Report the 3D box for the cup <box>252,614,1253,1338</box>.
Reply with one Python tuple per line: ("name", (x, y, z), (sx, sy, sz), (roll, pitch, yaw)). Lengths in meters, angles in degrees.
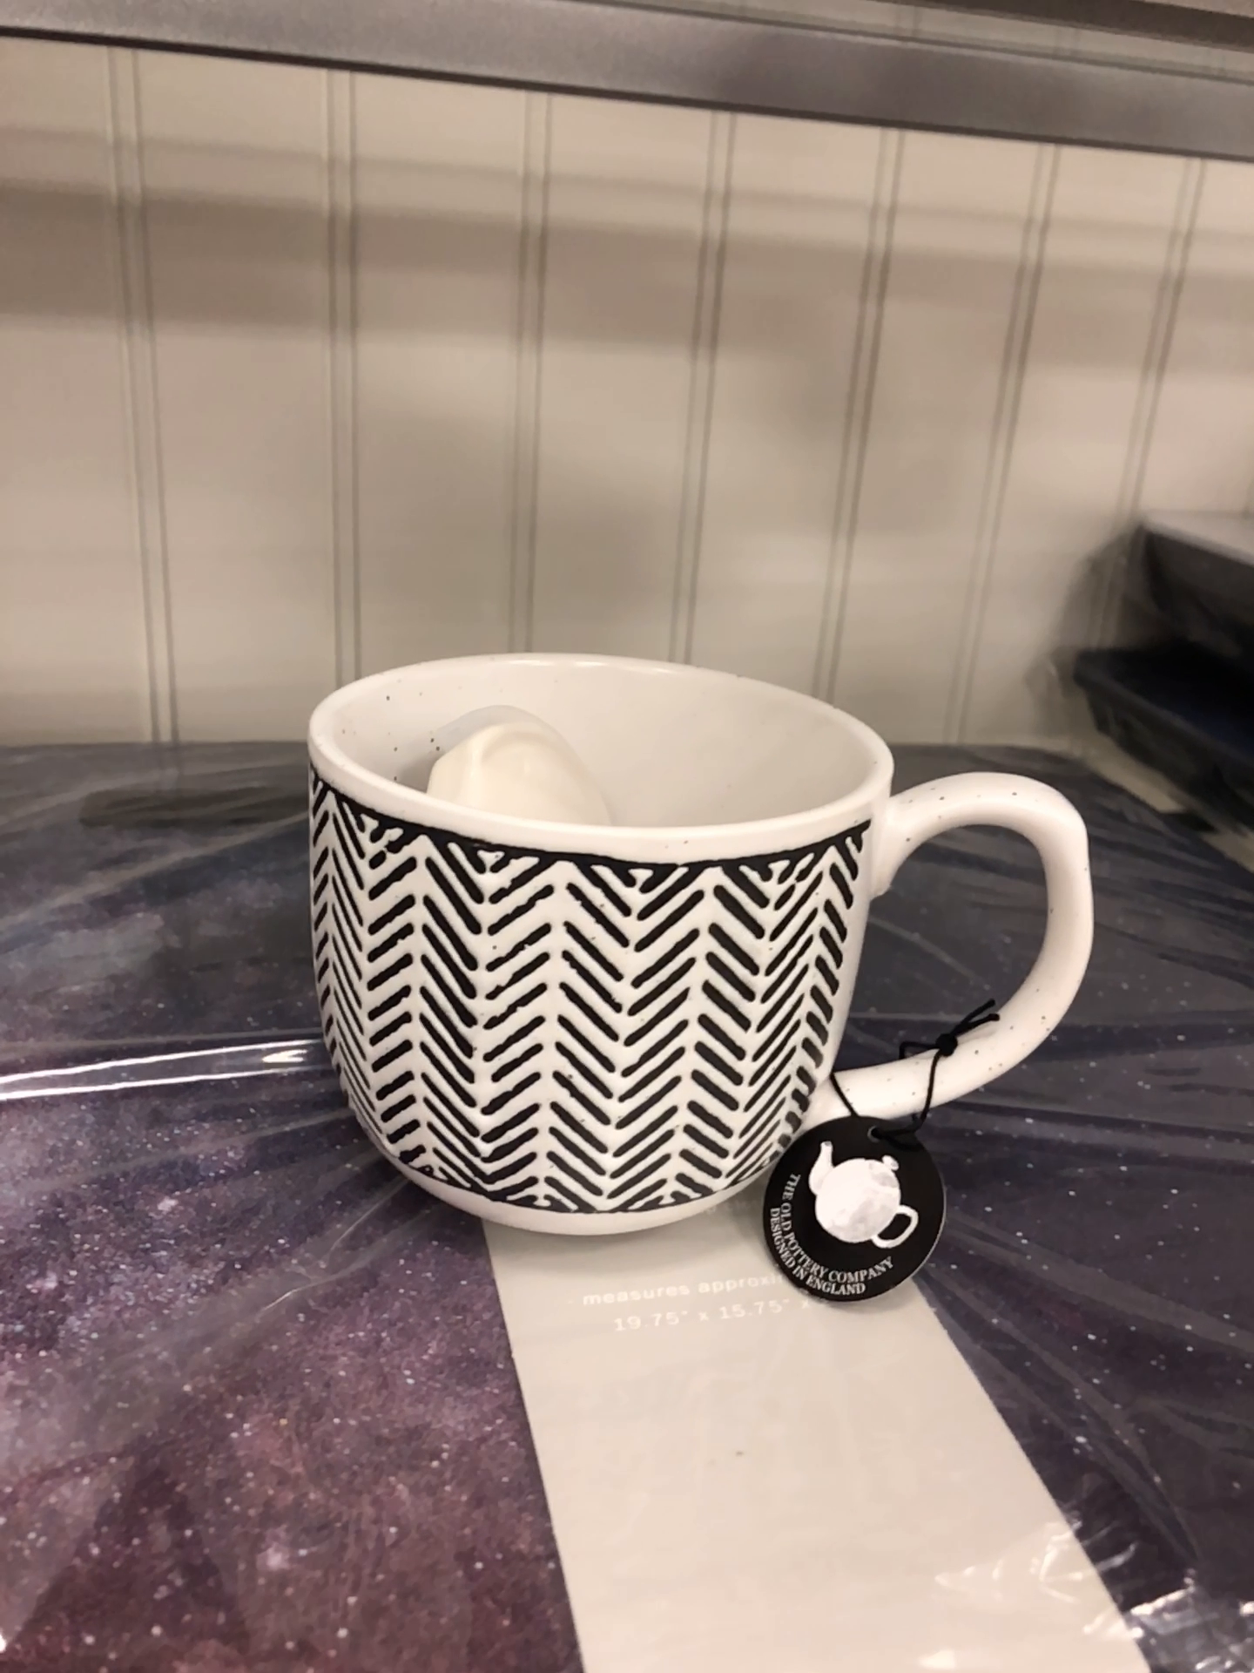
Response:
("cup", (0.019, 0.017, 0.250), (0.140, 0.079, 0.091), (6, 23, 5))
